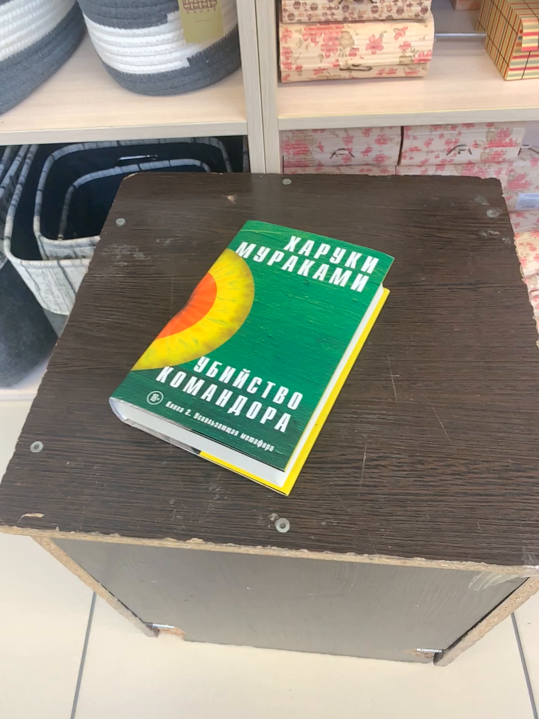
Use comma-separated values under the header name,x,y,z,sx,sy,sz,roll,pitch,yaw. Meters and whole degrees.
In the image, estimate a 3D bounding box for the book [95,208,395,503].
name,x,y,z,sx,sy,sz,roll,pitch,yaw
book,-0.009,-0.018,0.451,0.150,0.050,0.217,21,59,18
